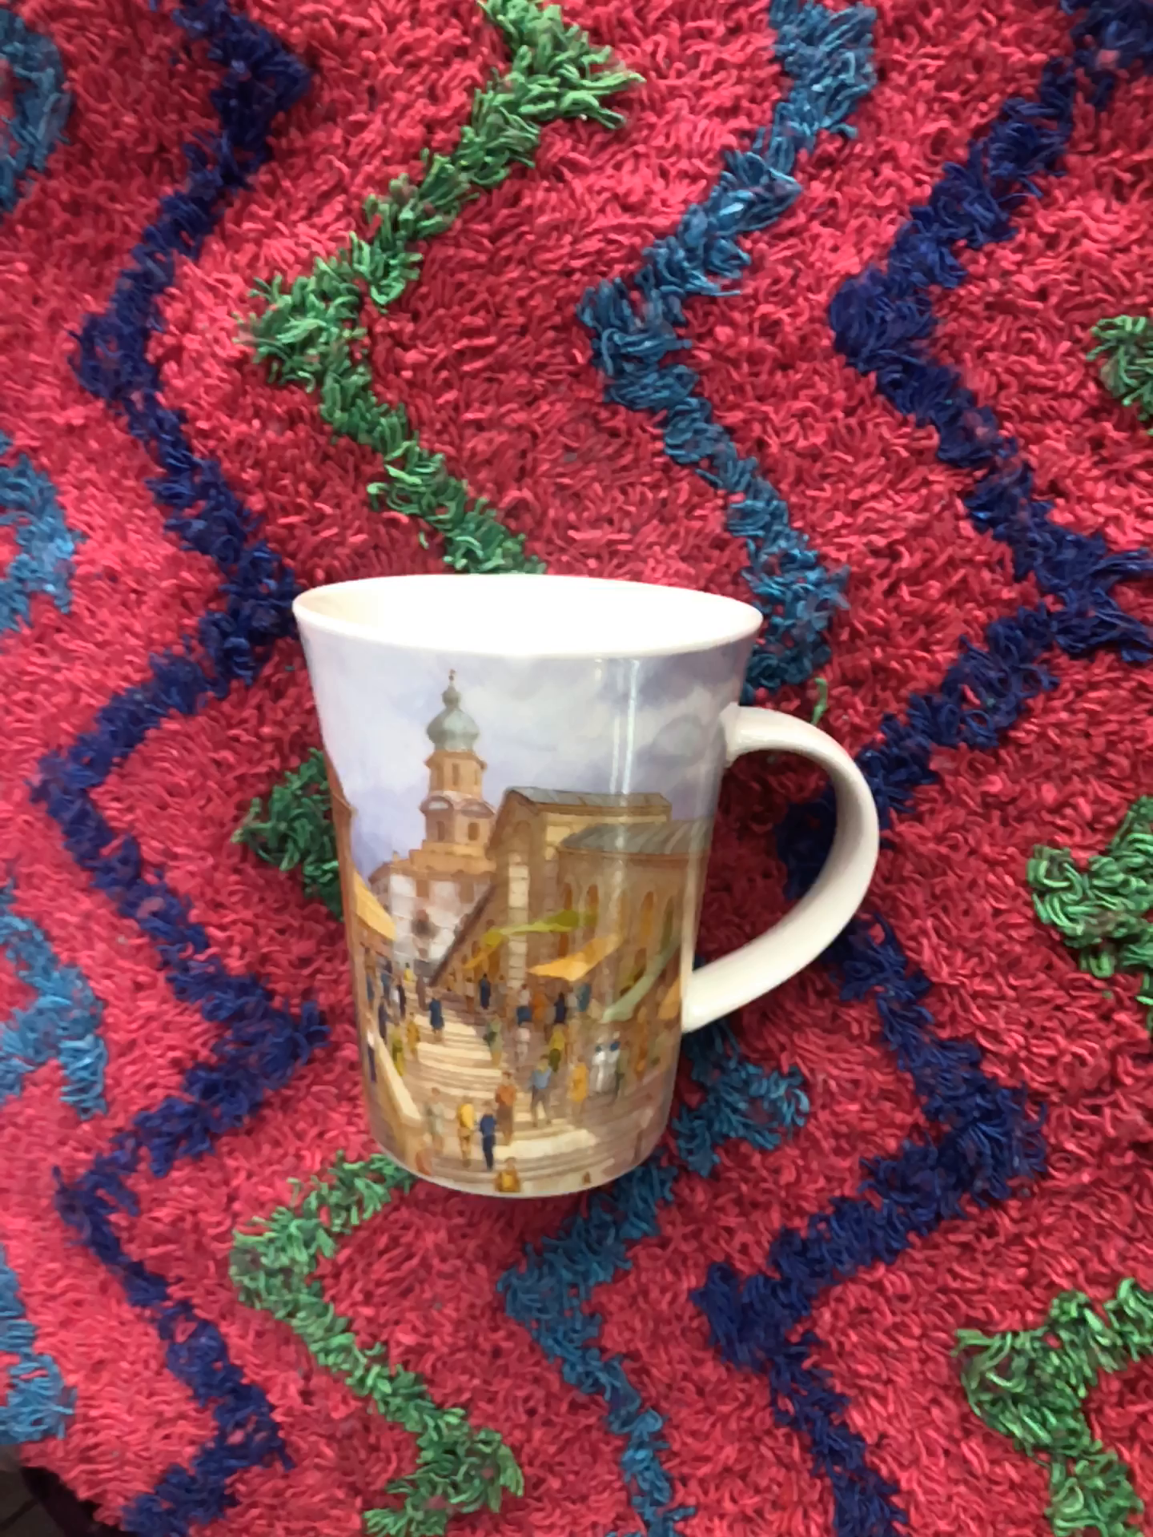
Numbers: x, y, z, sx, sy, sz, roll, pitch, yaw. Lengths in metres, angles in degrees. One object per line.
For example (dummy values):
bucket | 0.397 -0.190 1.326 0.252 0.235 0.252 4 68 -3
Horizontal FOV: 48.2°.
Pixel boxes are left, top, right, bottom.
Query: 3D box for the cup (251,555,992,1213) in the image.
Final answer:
cup | -0.003 0.012 0.239 0.110 0.090 0.090 0 104 -15
